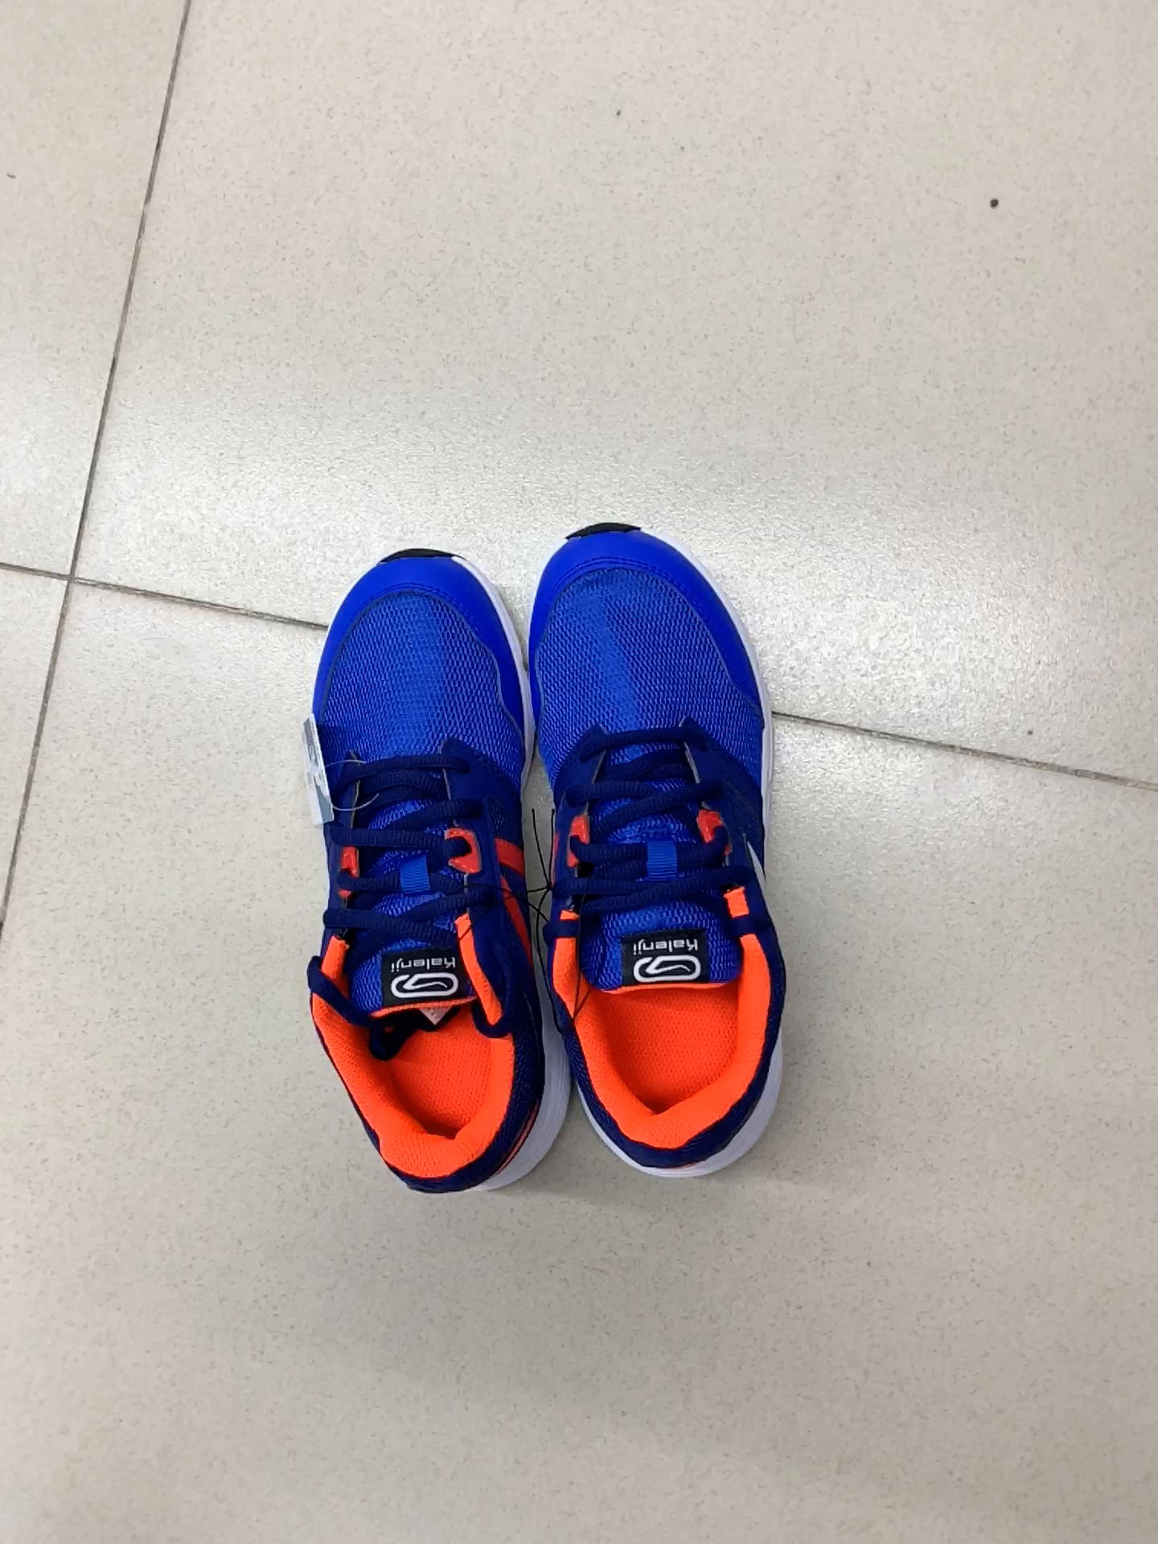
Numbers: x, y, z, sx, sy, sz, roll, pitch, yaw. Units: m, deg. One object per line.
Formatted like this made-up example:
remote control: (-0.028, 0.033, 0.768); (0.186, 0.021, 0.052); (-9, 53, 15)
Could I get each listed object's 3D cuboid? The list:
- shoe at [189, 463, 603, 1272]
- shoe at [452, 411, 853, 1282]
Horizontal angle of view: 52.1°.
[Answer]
shoe: (-0.059, 0.032, 0.441); (0.090, 0.120, 0.250); (-9, 88, 6)
shoe: (0.027, 0.024, 0.412); (0.090, 0.120, 0.250); (-7, 88, 6)
